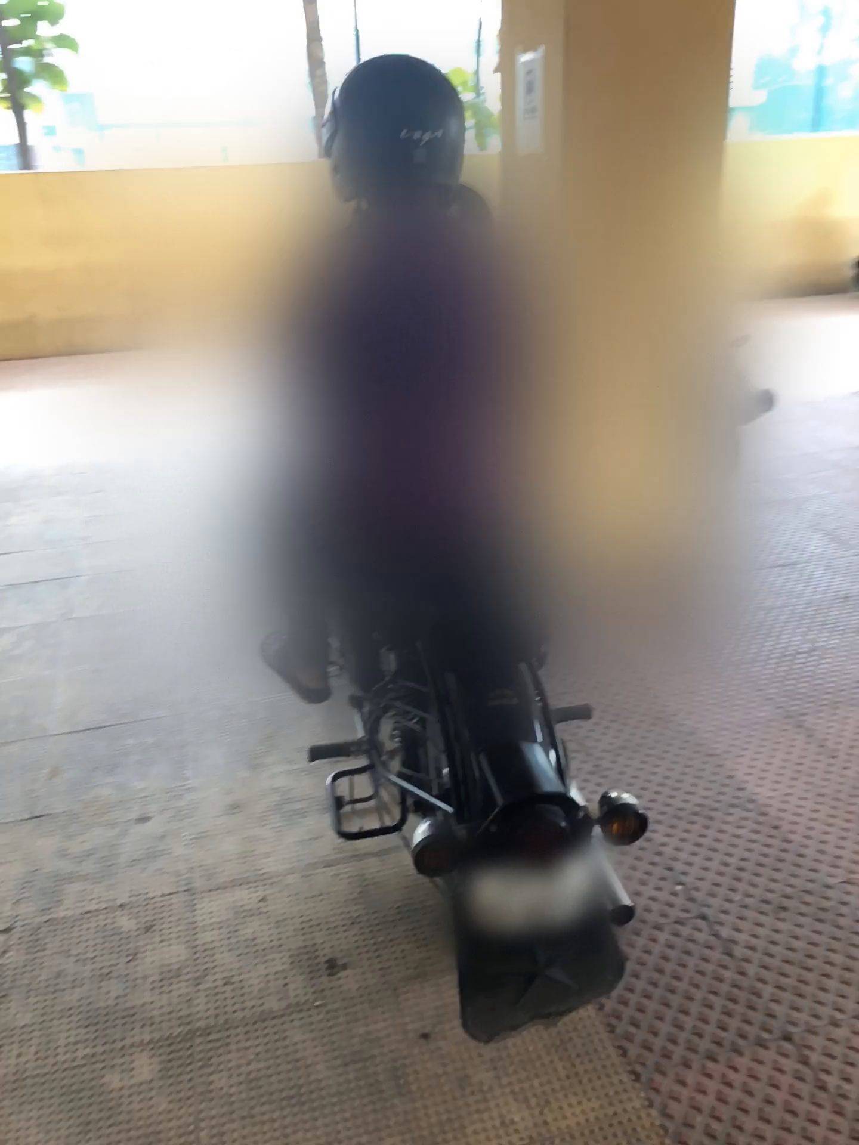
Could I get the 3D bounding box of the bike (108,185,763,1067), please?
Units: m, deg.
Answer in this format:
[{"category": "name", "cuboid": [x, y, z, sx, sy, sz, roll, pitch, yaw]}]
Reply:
[{"category": "bike", "cuboid": [-0.188, -0.139, 2.161, 0.726, 1.096, 1.771, -10, 31, -17]}]
